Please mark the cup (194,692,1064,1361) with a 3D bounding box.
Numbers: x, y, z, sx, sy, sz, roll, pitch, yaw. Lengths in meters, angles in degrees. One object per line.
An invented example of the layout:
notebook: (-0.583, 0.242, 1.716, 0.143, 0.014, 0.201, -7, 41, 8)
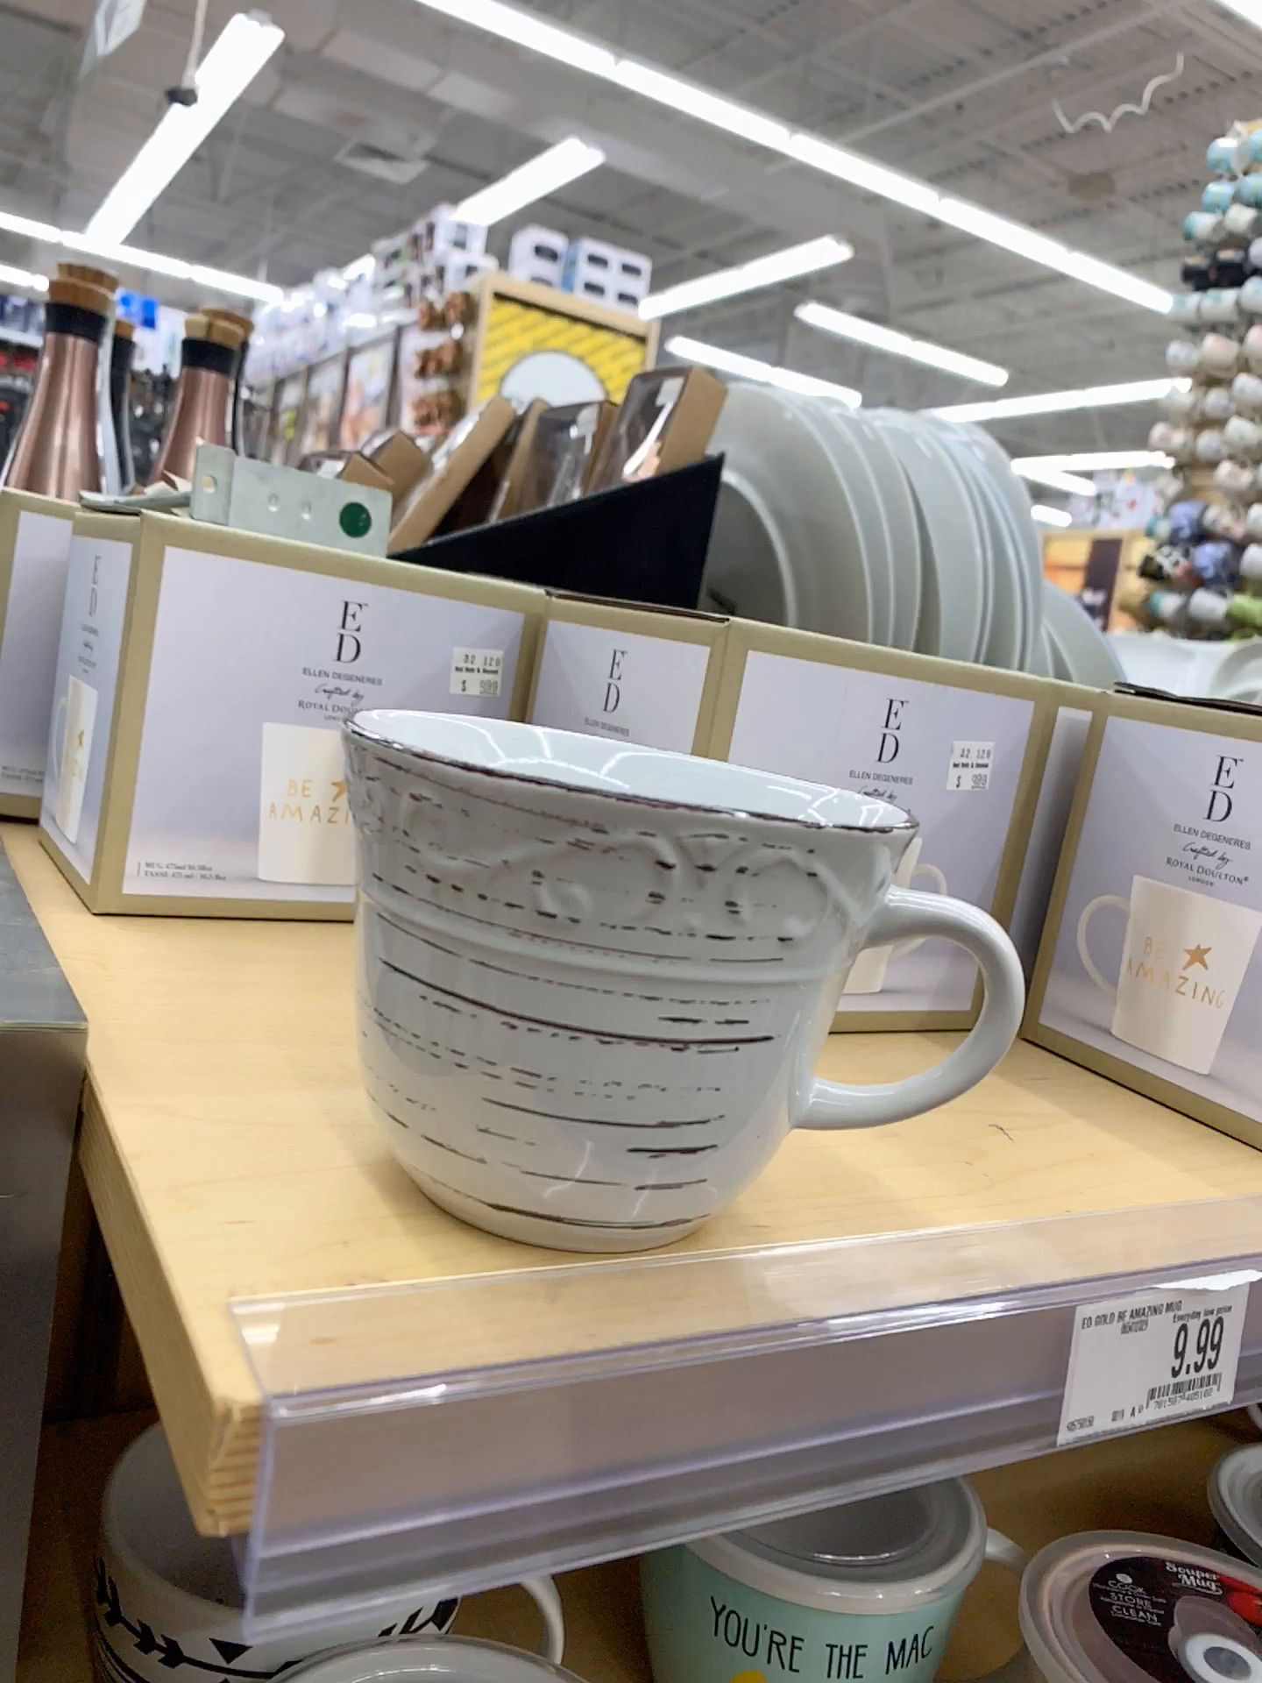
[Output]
cup: (0.009, 0.020, 0.248, 0.124, 0.075, 0.114, 9, 7, -1)
